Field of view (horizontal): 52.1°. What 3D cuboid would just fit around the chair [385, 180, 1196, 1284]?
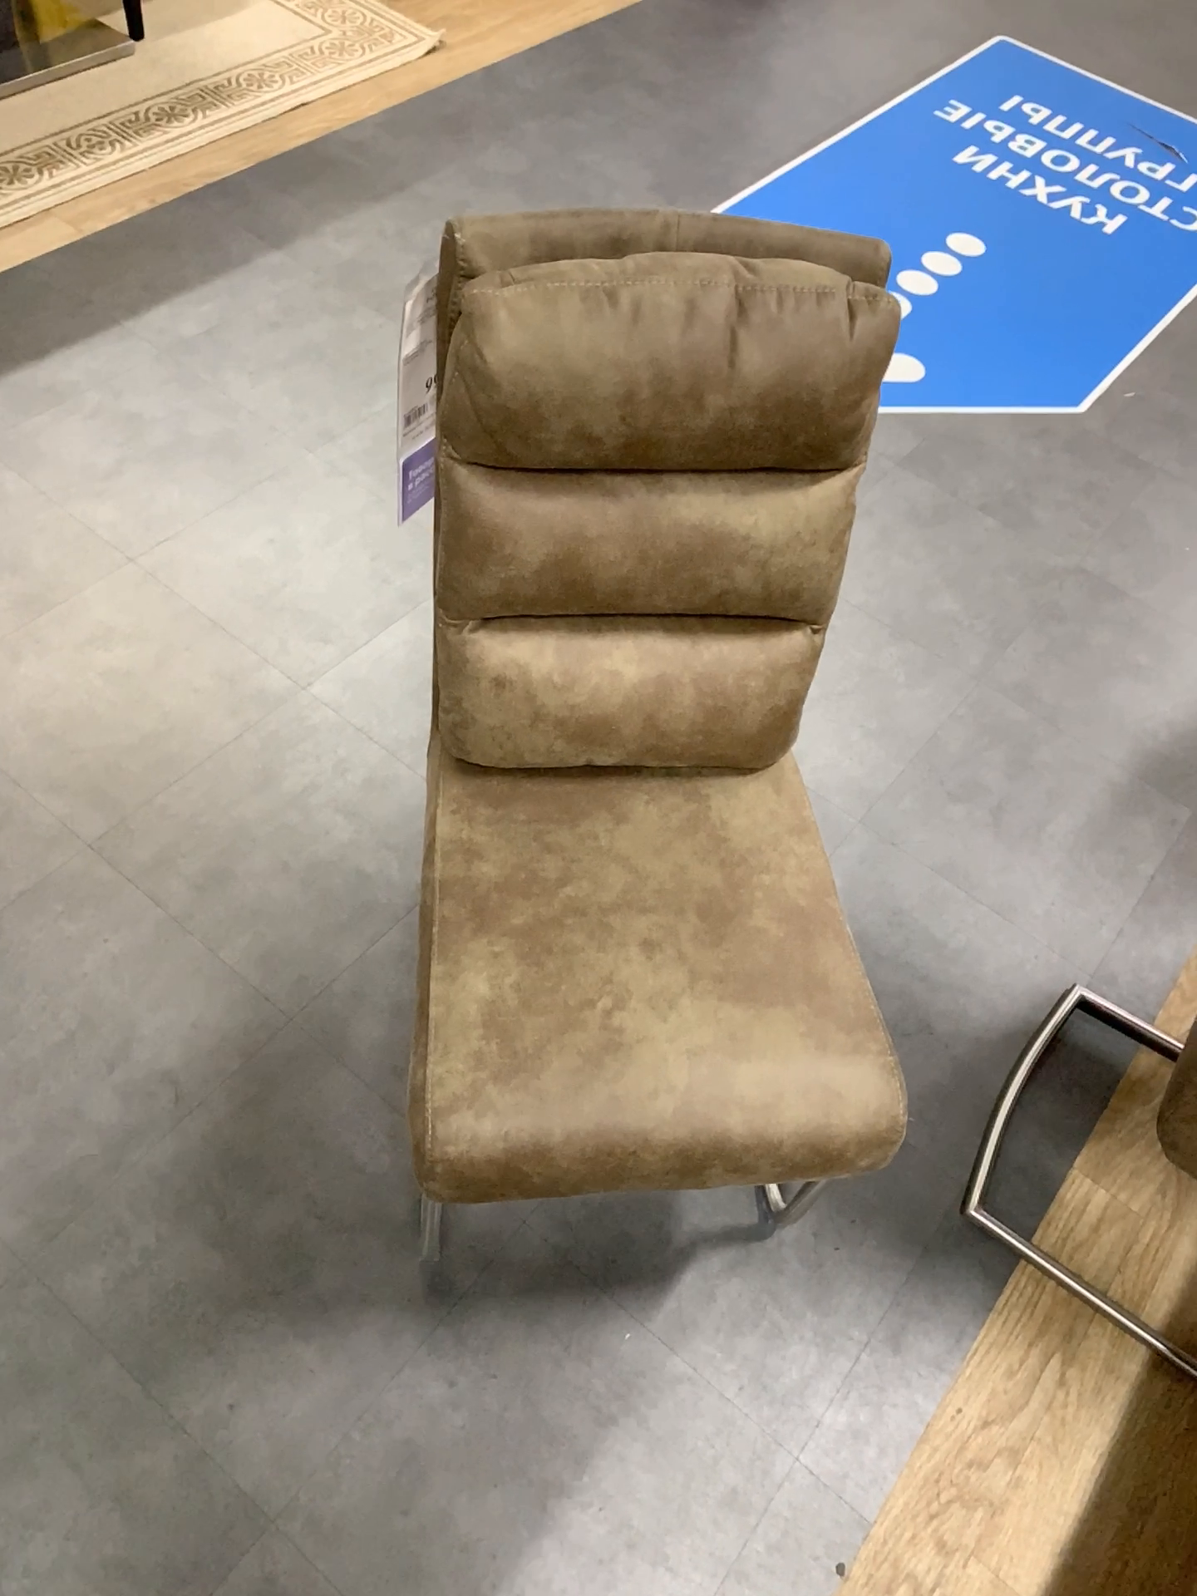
[{"bbox_3d":[0.049,0.032,1.251,0.500,0.996,0.602,-1,55,-9],"label":"chair"}]
